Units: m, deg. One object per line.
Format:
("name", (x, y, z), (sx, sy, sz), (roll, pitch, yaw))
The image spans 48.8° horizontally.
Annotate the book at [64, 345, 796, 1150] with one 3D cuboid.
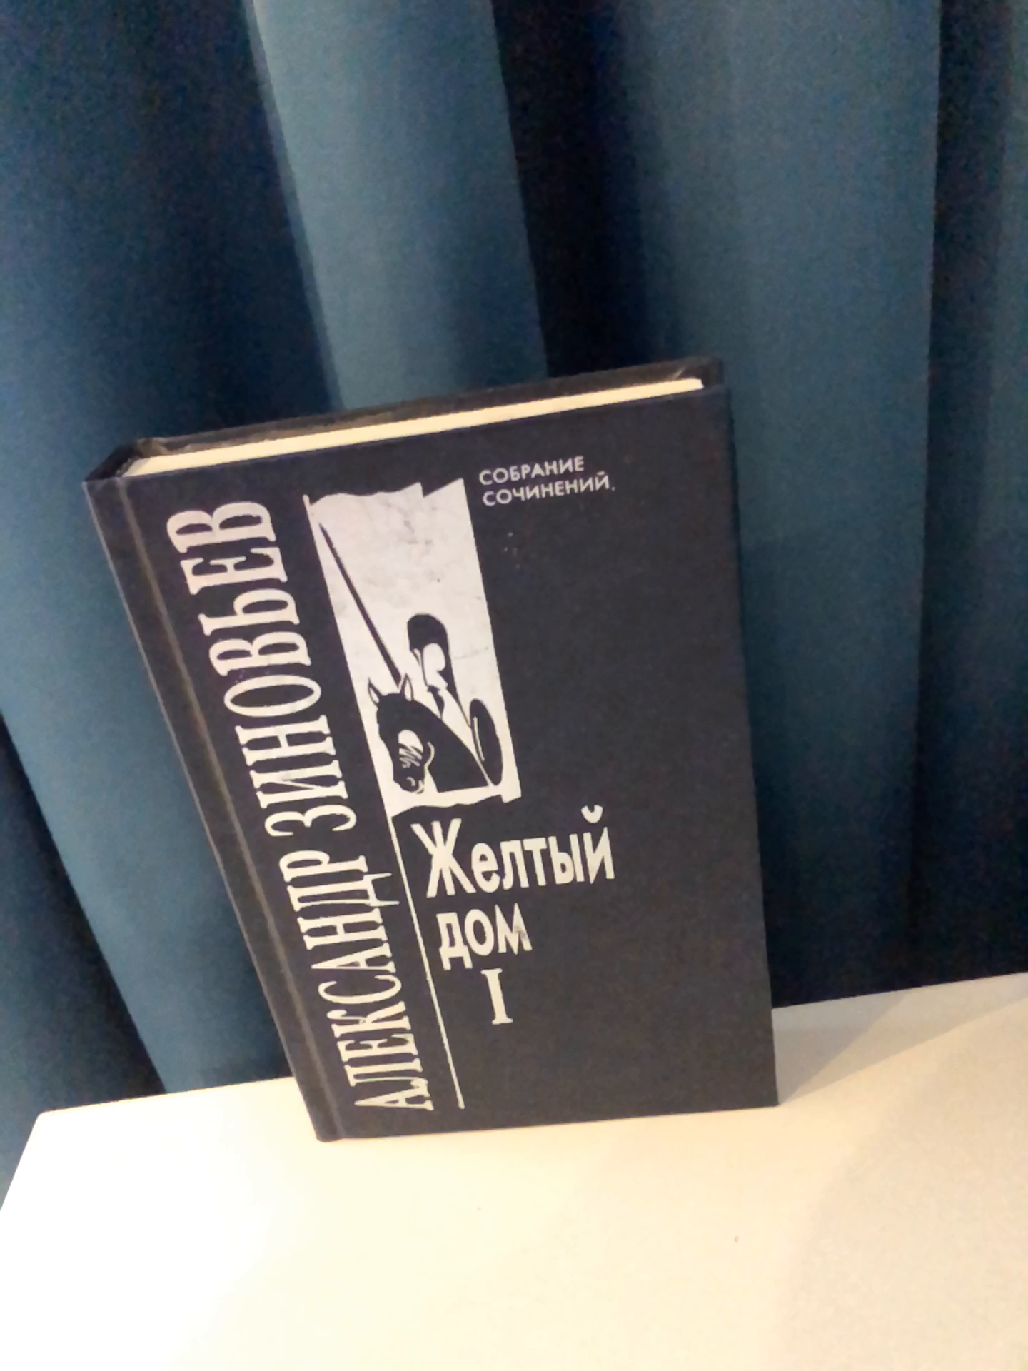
("book", (-0.006, 0.032, 0.293), (0.140, 0.210, 0.033), (-7, 30, 7))
